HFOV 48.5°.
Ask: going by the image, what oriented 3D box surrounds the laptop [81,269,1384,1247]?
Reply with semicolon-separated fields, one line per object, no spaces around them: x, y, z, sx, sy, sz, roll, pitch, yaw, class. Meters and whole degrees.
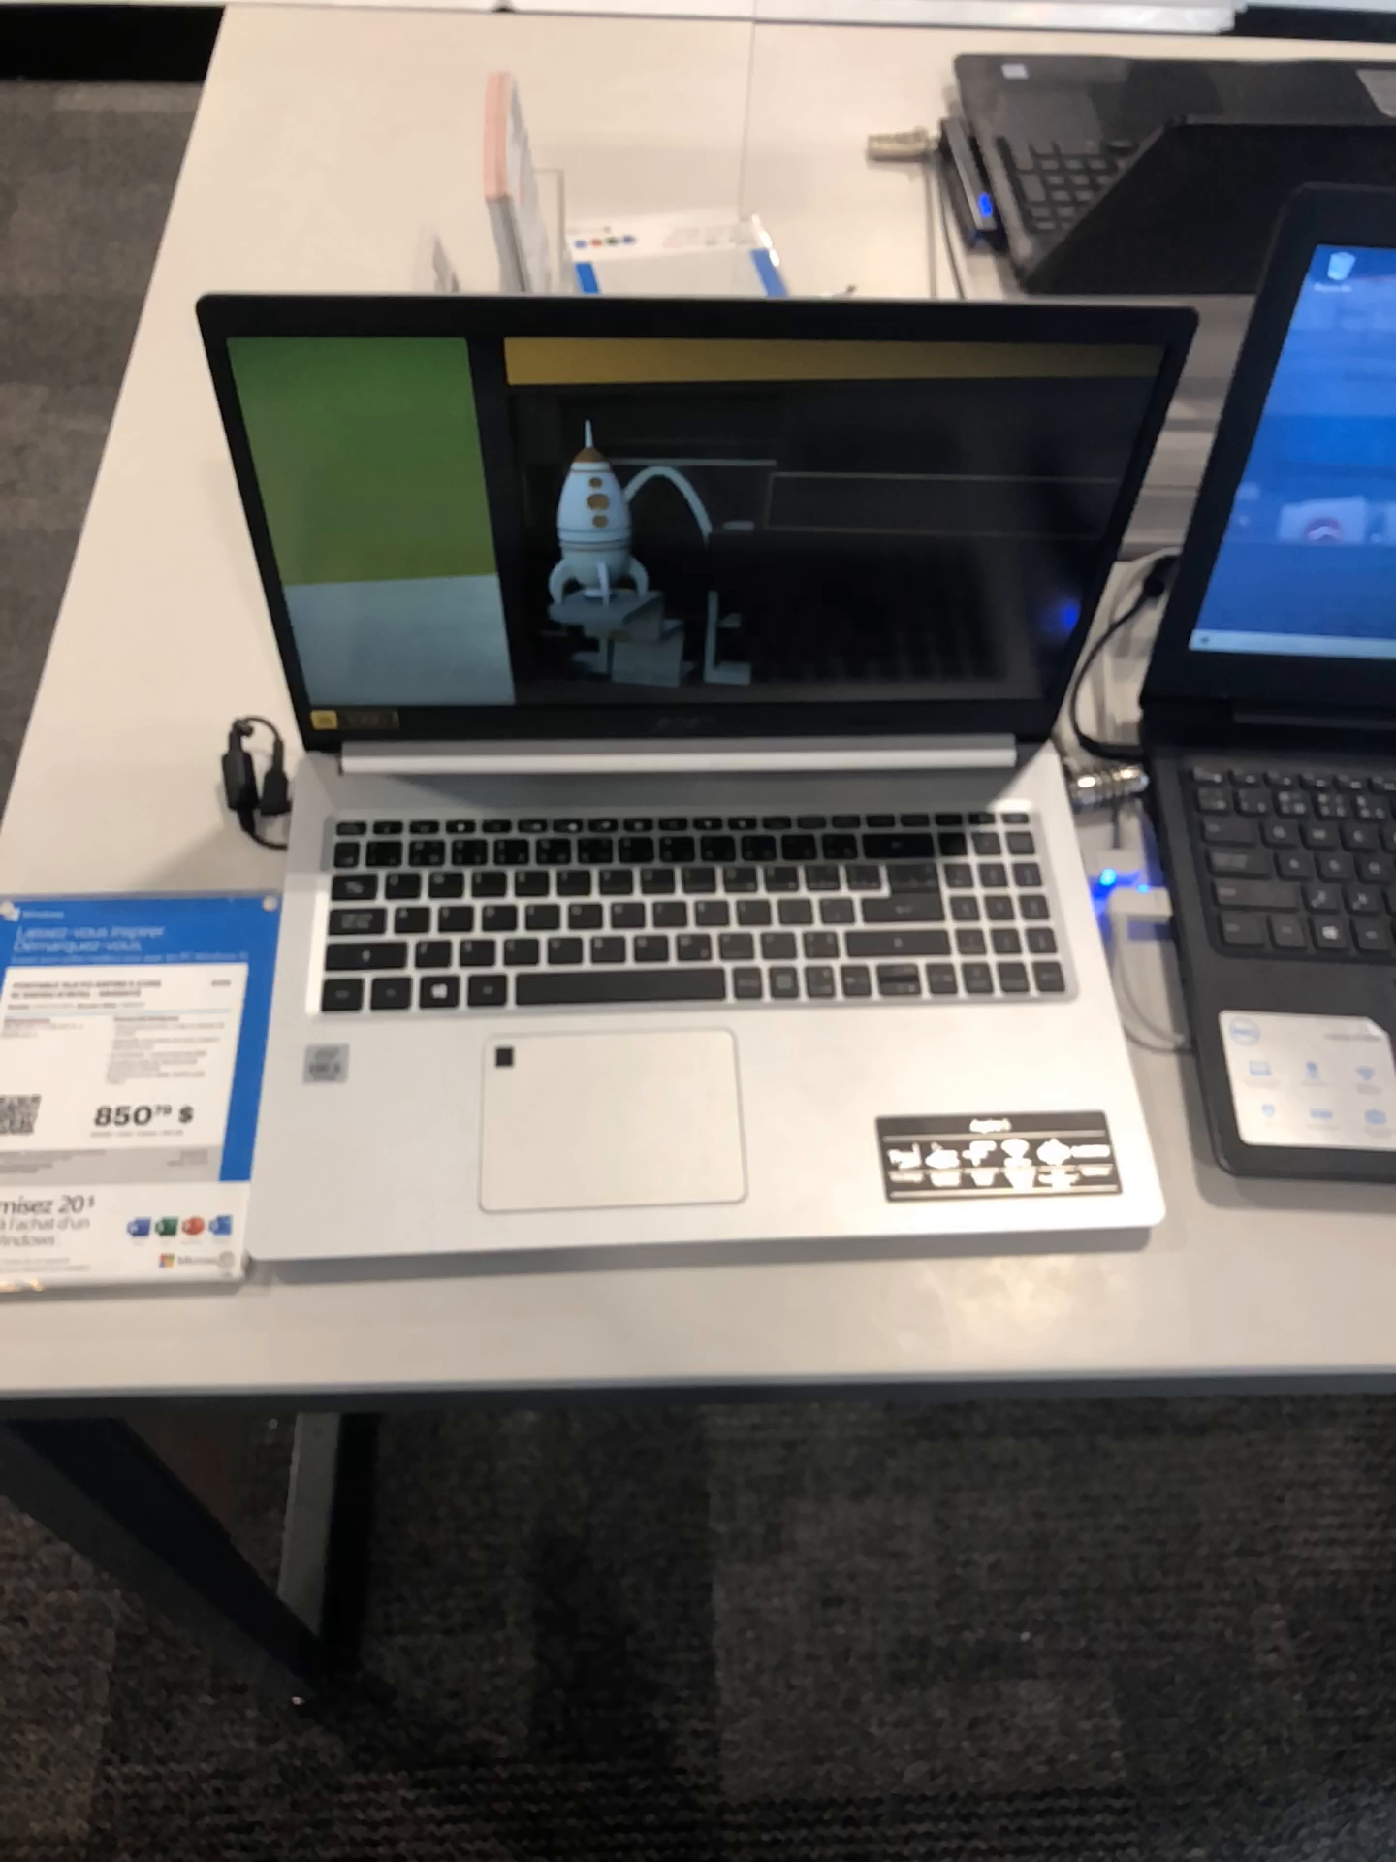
0.001;-0.059;0.579;0.349;0.229;0.267;-1;57;-3;laptop
